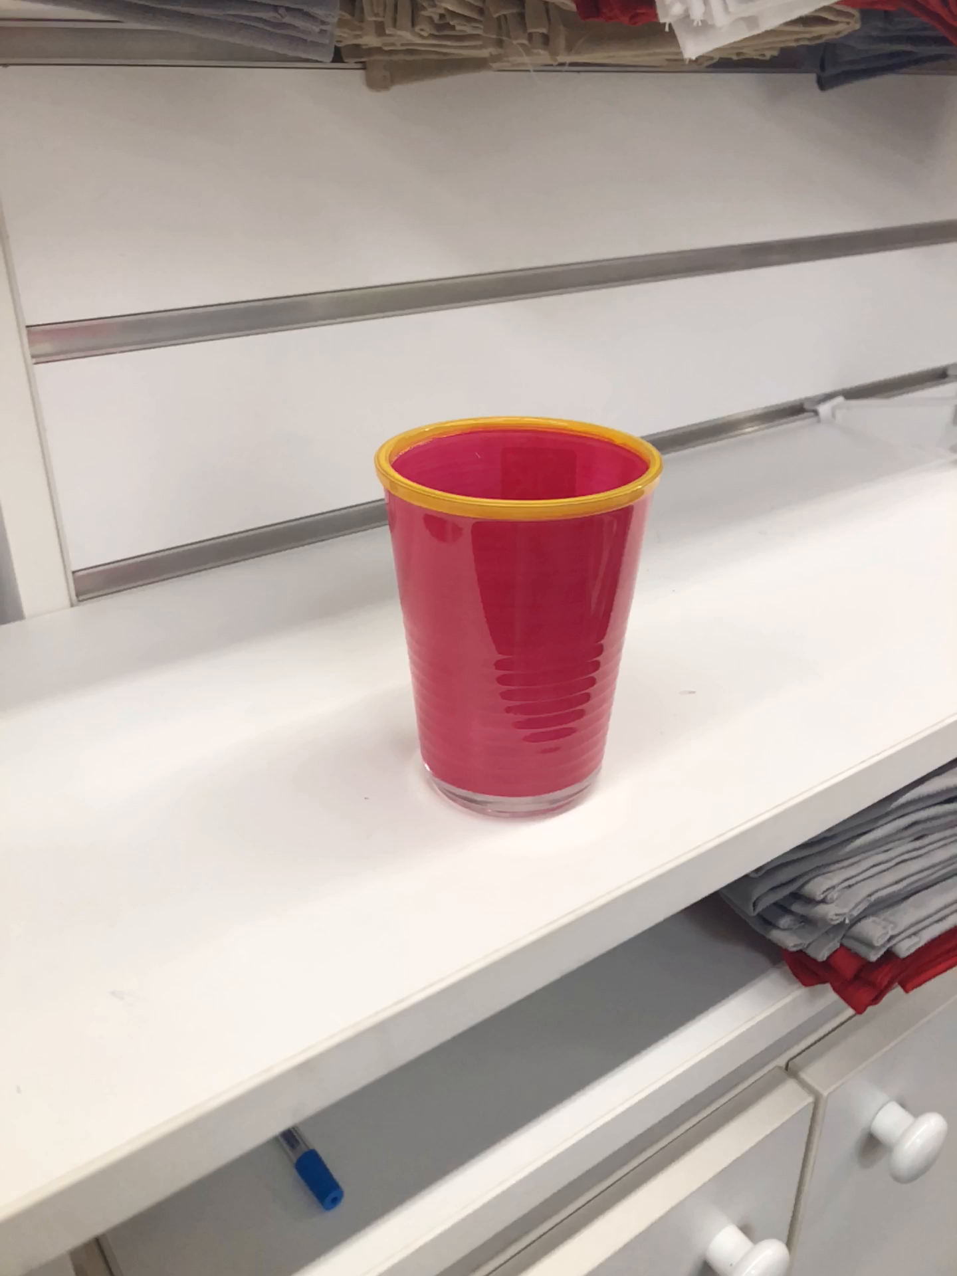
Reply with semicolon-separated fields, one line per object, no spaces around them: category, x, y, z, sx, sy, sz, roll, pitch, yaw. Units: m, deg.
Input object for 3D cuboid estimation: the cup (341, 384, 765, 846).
cup;0.018;-0.013;0.306;0.085;0.094;0.079;0;27;0
